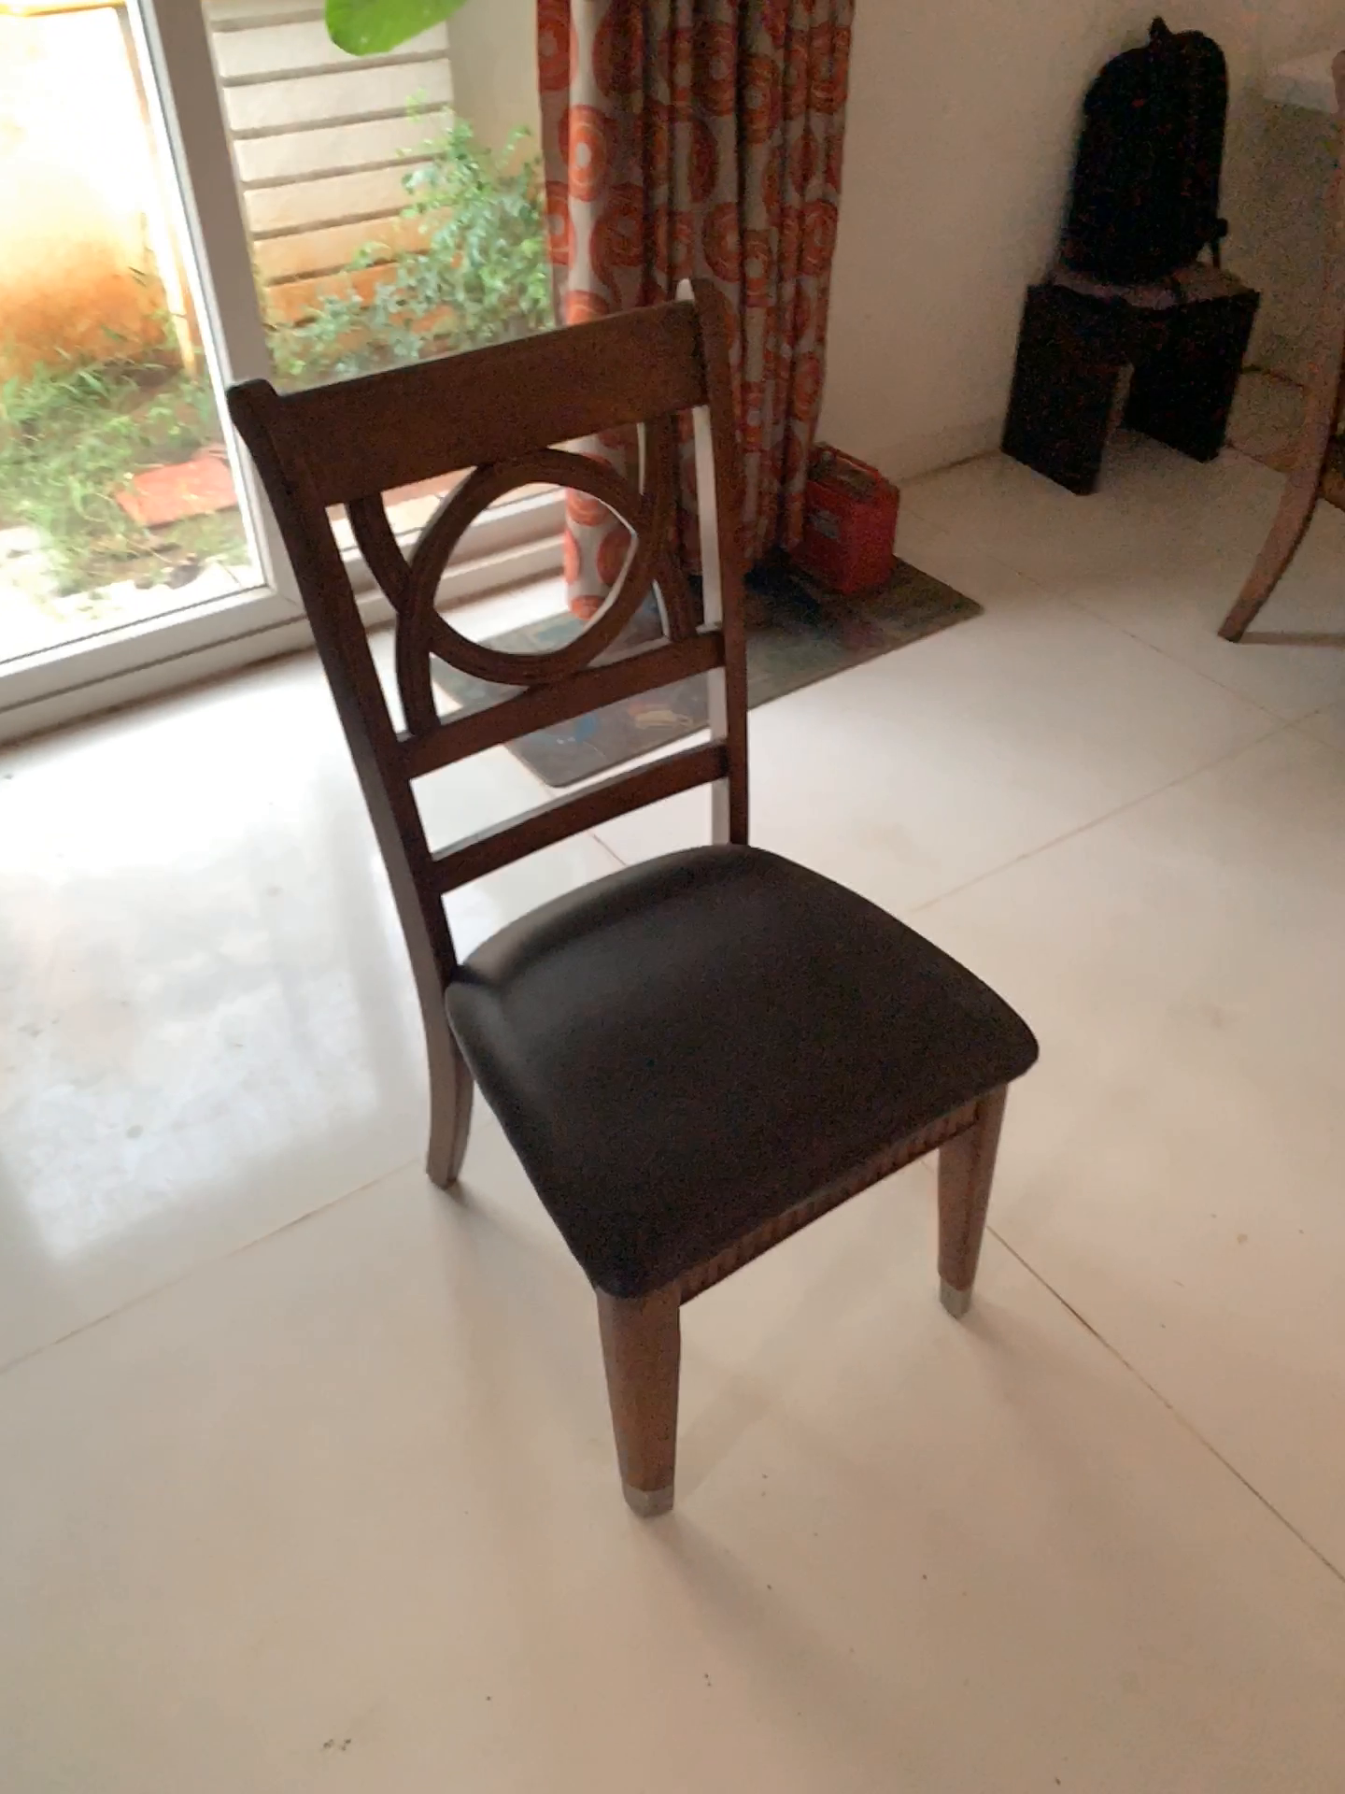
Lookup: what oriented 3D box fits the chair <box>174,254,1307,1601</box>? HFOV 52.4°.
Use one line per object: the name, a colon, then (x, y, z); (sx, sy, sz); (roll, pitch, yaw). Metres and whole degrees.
chair: (0.019, 0.045, 1.353); (0.570, 1.026, 0.642); (-24, 47, -24)
